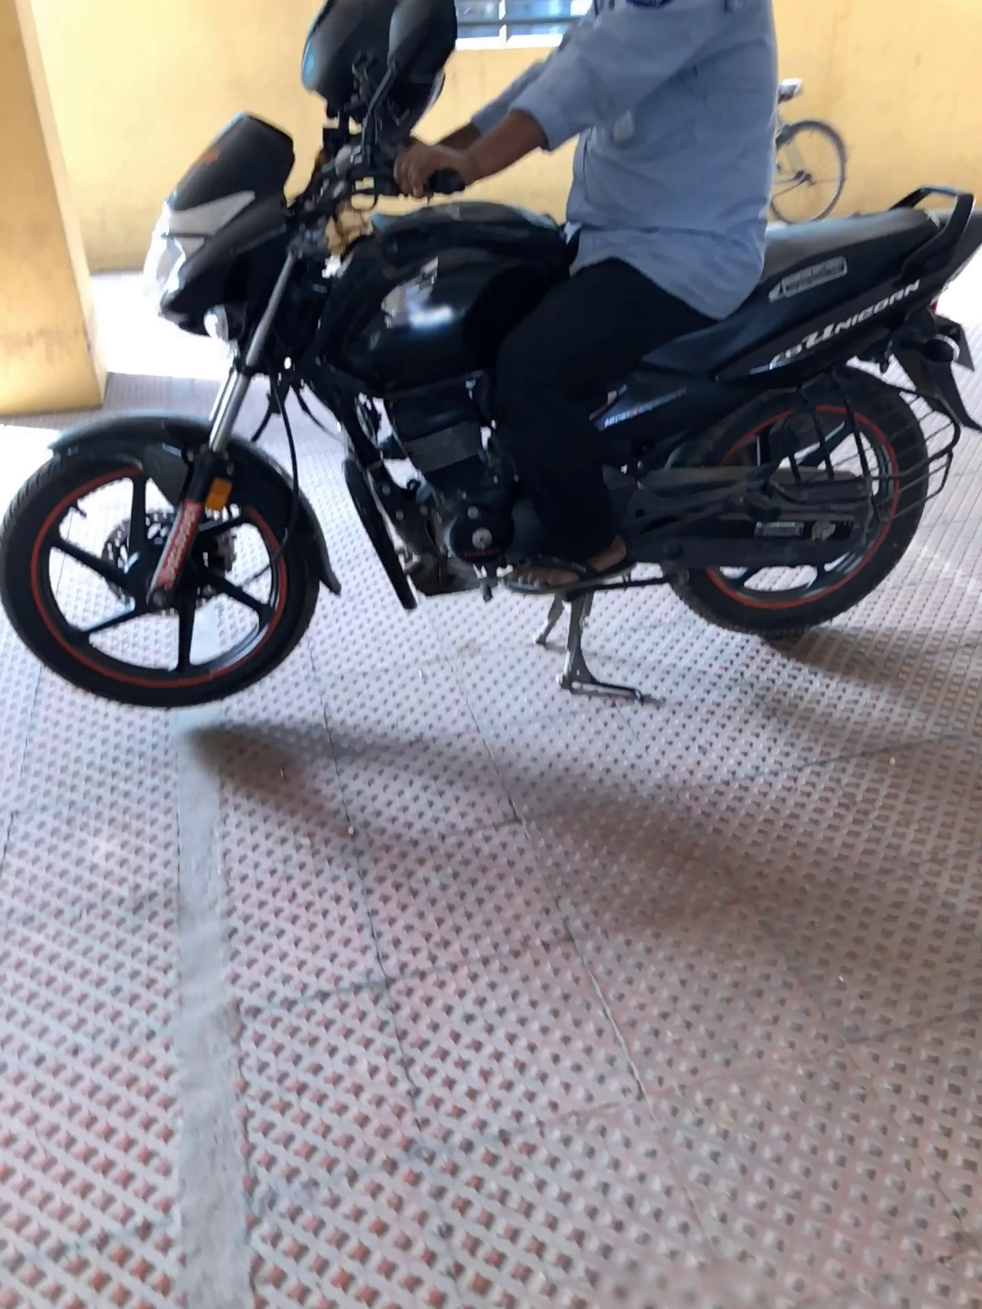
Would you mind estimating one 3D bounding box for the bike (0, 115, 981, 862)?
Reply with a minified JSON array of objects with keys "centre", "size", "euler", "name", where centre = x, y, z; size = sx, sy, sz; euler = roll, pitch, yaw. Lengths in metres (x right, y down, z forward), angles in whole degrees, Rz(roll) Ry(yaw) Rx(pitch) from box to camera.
[{"centre":[0.011,-0.408,2.131],"size":[1.885,1.009,0.789],"euler":[-9,31,-9],"name":"bike"}]
